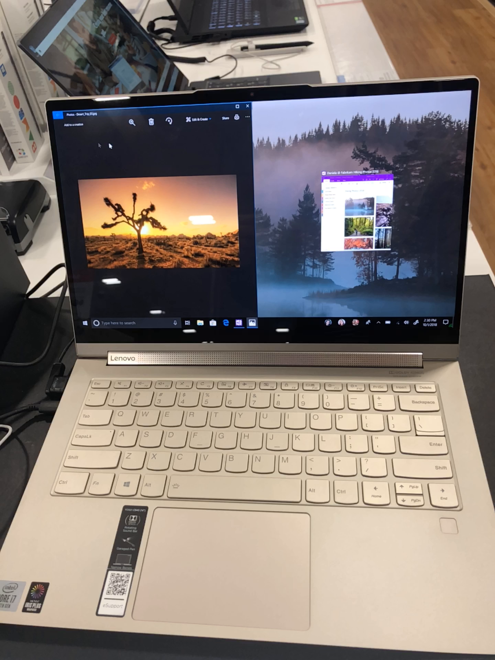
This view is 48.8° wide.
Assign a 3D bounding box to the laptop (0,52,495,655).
[{"bbox_3d":[-0.007,-0.014,0.363,0.320,0.170,0.327,0,49,8],"label":"laptop"}]
